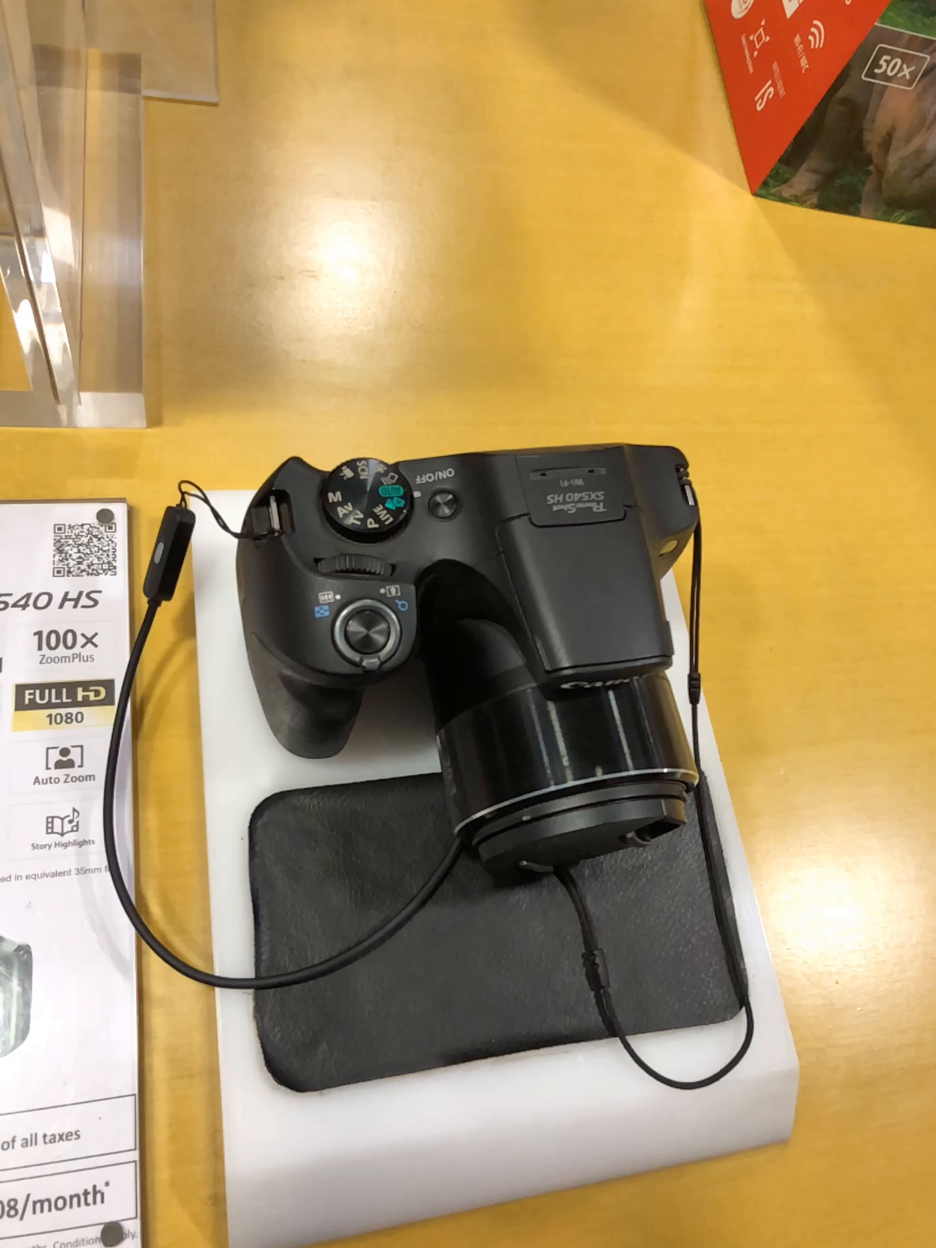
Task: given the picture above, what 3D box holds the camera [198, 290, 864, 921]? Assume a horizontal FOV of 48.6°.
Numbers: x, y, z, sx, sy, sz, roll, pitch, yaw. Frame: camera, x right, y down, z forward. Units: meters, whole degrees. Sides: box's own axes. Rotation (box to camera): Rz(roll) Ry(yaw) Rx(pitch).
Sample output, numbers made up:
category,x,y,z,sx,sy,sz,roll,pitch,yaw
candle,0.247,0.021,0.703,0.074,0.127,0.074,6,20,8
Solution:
category,x,y,z,sx,sy,sz,roll,pitch,yaw
camera,0.003,-0.006,0.275,0.130,0.090,0.130,-6,68,-17
